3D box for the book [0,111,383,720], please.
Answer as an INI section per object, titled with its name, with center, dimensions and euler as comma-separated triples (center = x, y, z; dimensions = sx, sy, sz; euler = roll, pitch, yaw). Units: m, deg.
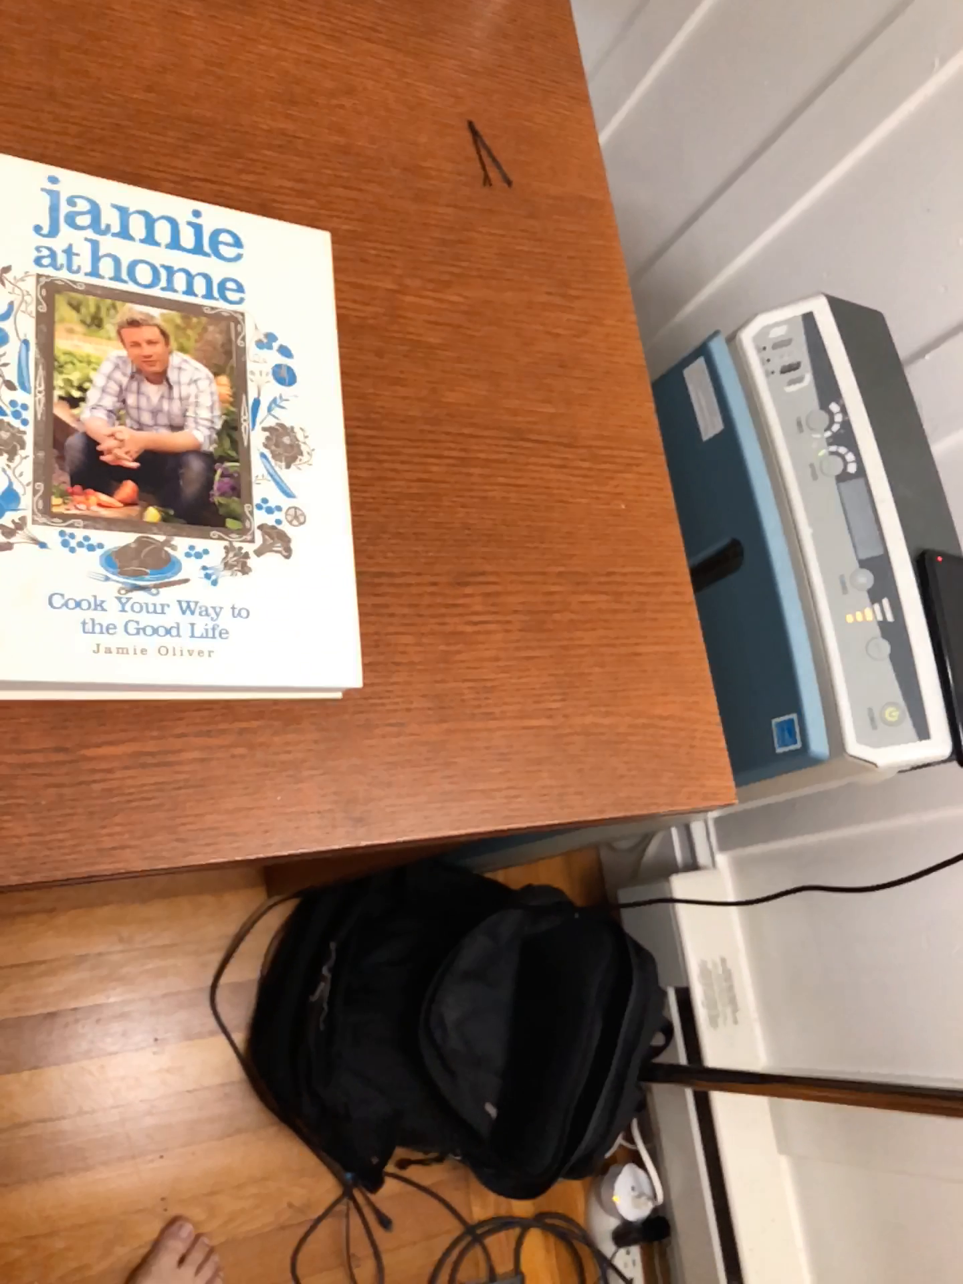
[book]
center = -0.160, -0.096, 0.491
dimensions = 0.211, 0.040, 0.260
euler = 3, 72, -27
